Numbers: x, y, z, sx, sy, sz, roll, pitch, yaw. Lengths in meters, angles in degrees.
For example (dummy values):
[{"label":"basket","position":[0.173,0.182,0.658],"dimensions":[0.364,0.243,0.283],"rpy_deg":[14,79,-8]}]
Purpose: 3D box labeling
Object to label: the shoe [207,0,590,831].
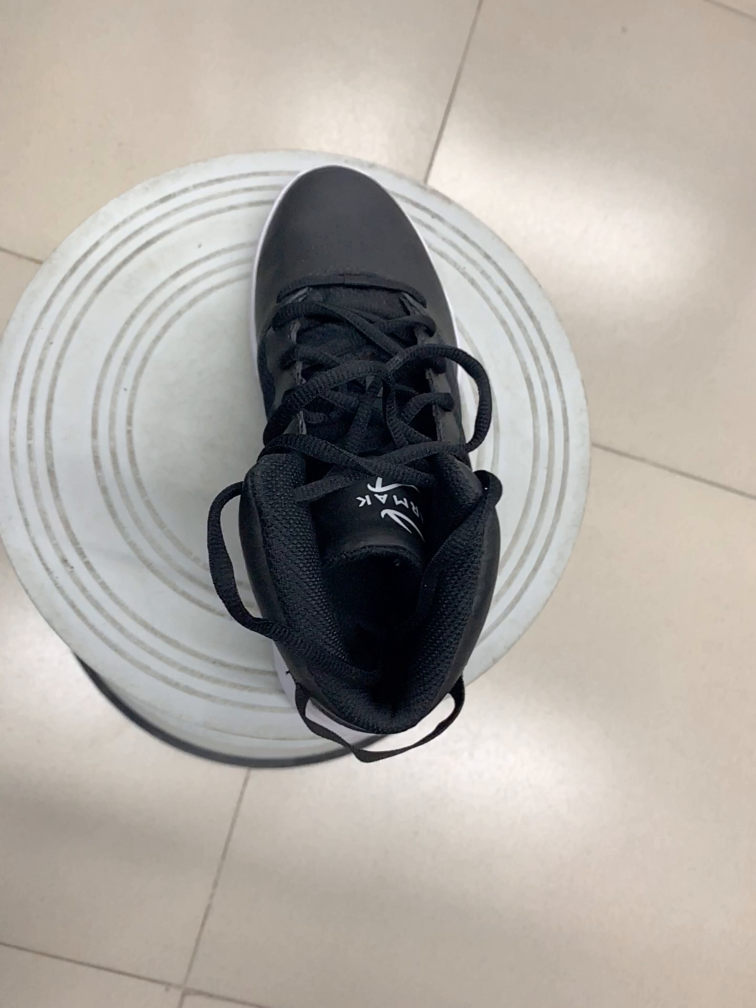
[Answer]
[{"label":"shoe","position":[-0.005,-0.030,0.271],"dimensions":[0.090,0.100,0.240],"rpy_deg":[-3,80,-9]}]
